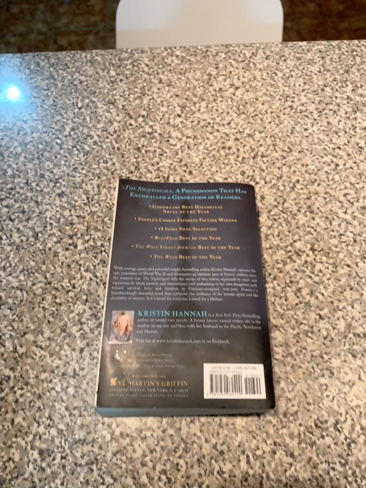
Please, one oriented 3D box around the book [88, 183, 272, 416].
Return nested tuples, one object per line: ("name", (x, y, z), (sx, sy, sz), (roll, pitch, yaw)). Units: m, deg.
("book", (0.000, 0.045, 0.355), (0.139, 0.056, 0.207), (1, 64, 2))
